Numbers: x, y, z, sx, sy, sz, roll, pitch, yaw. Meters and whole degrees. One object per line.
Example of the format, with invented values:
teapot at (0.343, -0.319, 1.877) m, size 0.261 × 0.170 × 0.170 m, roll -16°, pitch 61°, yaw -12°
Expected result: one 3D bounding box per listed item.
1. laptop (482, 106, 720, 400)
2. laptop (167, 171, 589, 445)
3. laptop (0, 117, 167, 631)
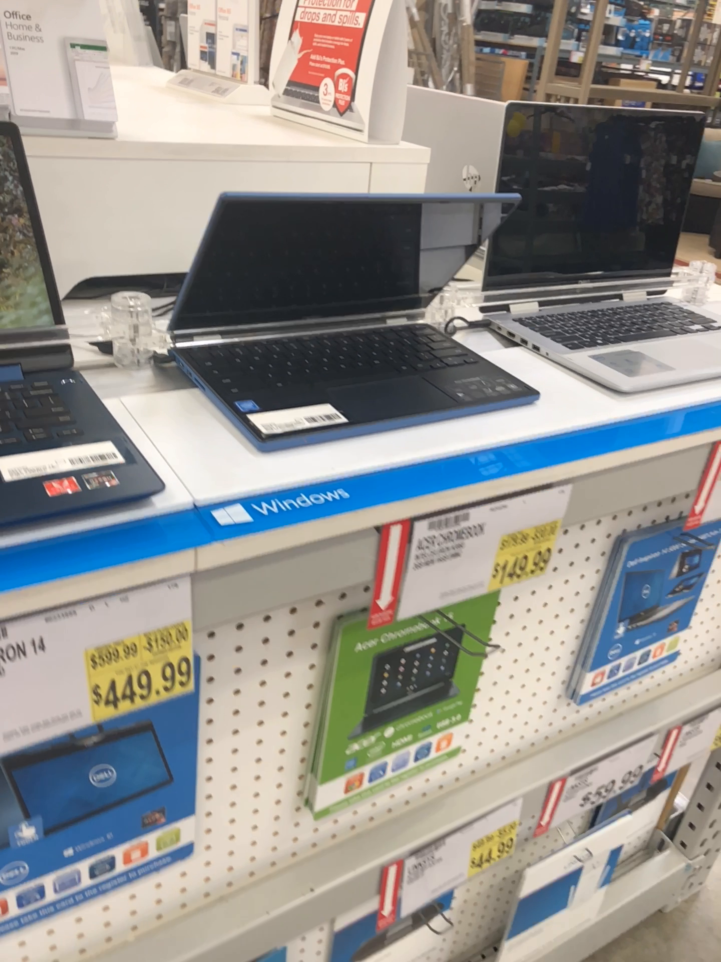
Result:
laptop at (0.358, -0.280, 0.894) m, size 0.341 × 0.218 × 0.256 m, roll -13°, pitch 36°, yaw -28°
laptop at (0.008, -0.168, 0.701) m, size 0.294 × 0.159 × 0.195 m, roll -12°, pitch 35°, yaw -30°
laptop at (-0.340, -0.119, 0.525) m, size 0.305 × 0.169 × 0.368 m, roll -12°, pitch 34°, yaw -31°
